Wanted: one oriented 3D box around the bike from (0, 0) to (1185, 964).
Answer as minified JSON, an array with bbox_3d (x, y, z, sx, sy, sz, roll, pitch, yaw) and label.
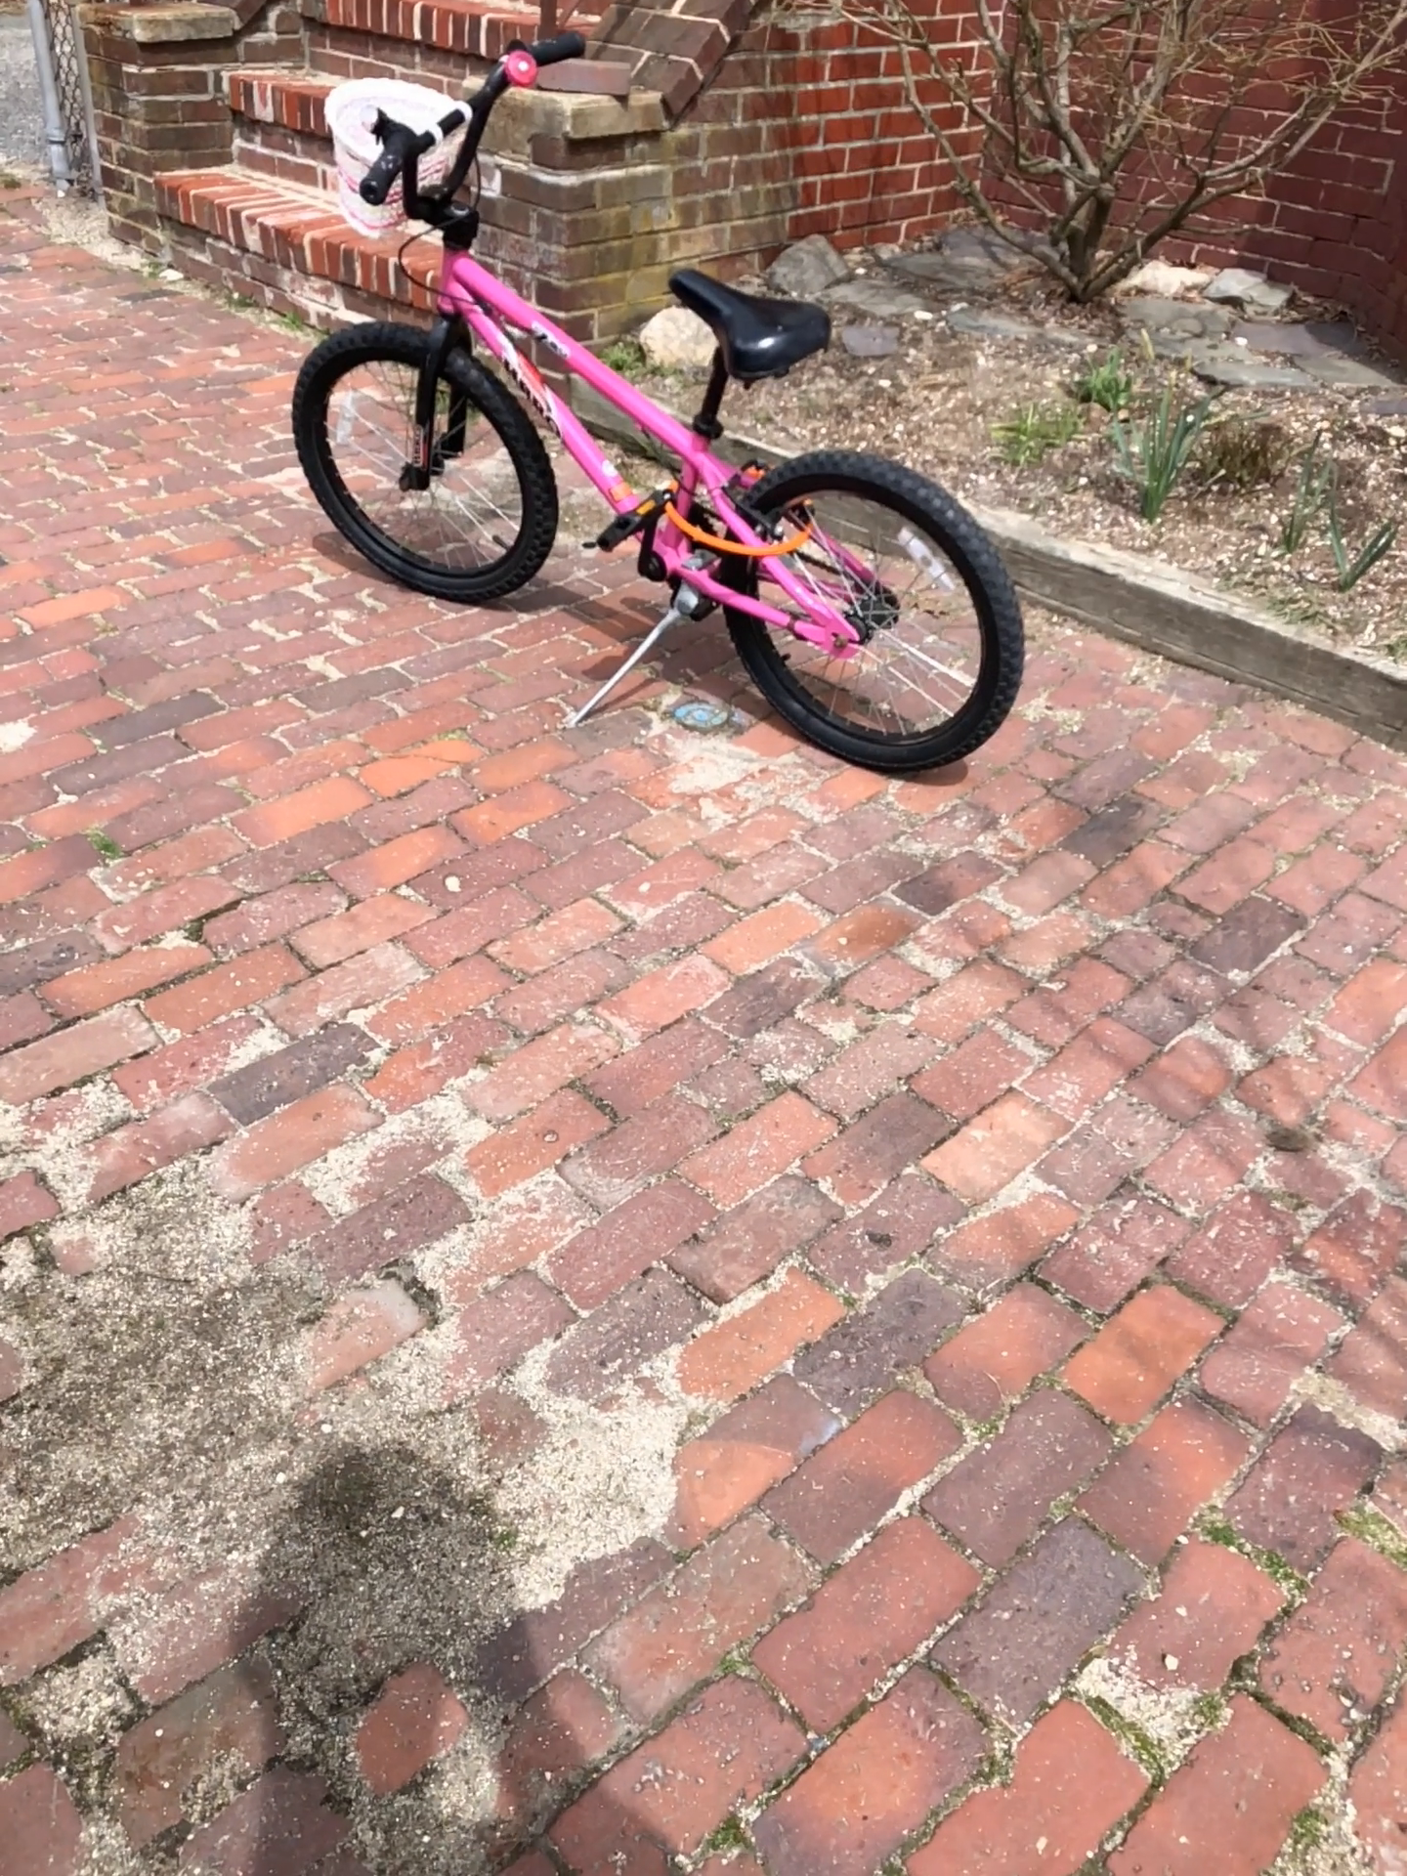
[{"bbox_3d":[-0.187,-0.769,2.188,1.339,0.906,0.714,25,40,22],"label":"bike"}]
